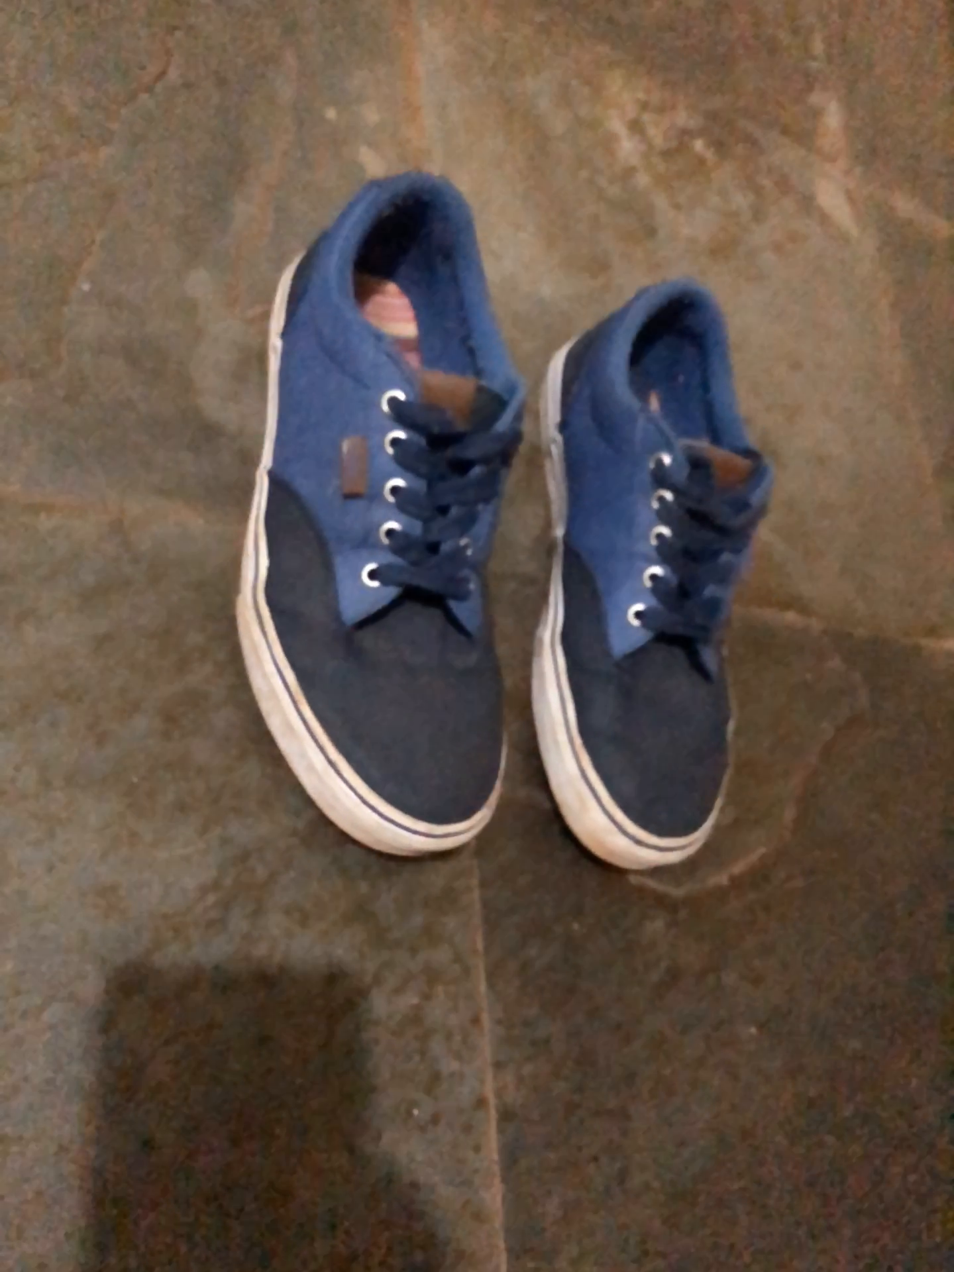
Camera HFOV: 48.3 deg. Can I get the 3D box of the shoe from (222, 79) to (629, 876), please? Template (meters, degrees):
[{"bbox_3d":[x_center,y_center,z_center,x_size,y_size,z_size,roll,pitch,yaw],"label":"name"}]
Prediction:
[{"bbox_3d":[-0.029,-0.057,0.411,0.111,0.079,0.281,7,68,-32],"label":"shoe"}]

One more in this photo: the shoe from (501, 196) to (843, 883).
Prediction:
[{"bbox_3d":[0.080,-0.043,0.491,0.110,0.079,0.291,13,64,-30],"label":"shoe"}]
